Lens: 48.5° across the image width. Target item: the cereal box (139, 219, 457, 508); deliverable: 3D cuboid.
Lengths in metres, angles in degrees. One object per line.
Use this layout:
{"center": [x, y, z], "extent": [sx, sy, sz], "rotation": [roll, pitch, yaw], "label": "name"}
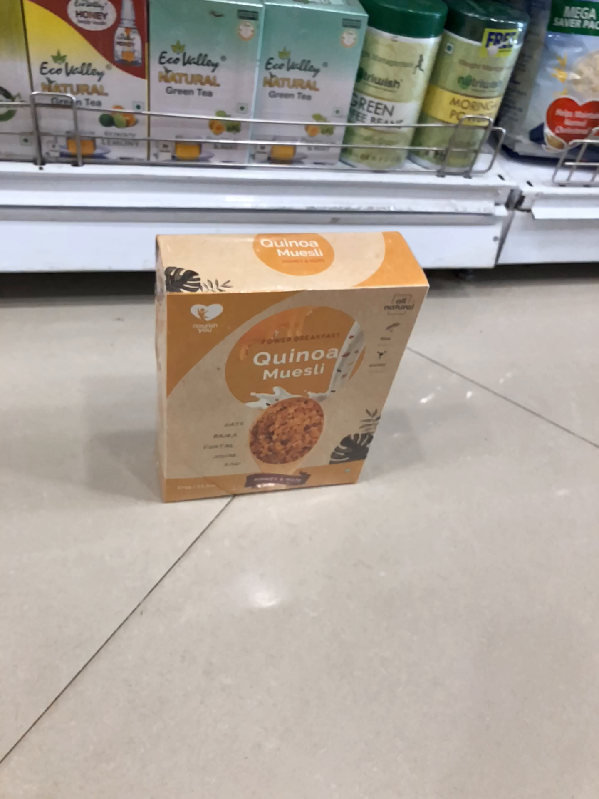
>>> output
{"center": [-0.015, -0.016, 0.443], "extent": [0.170, 0.199, 0.060], "rotation": [-4, 49, -15], "label": "cereal box"}
